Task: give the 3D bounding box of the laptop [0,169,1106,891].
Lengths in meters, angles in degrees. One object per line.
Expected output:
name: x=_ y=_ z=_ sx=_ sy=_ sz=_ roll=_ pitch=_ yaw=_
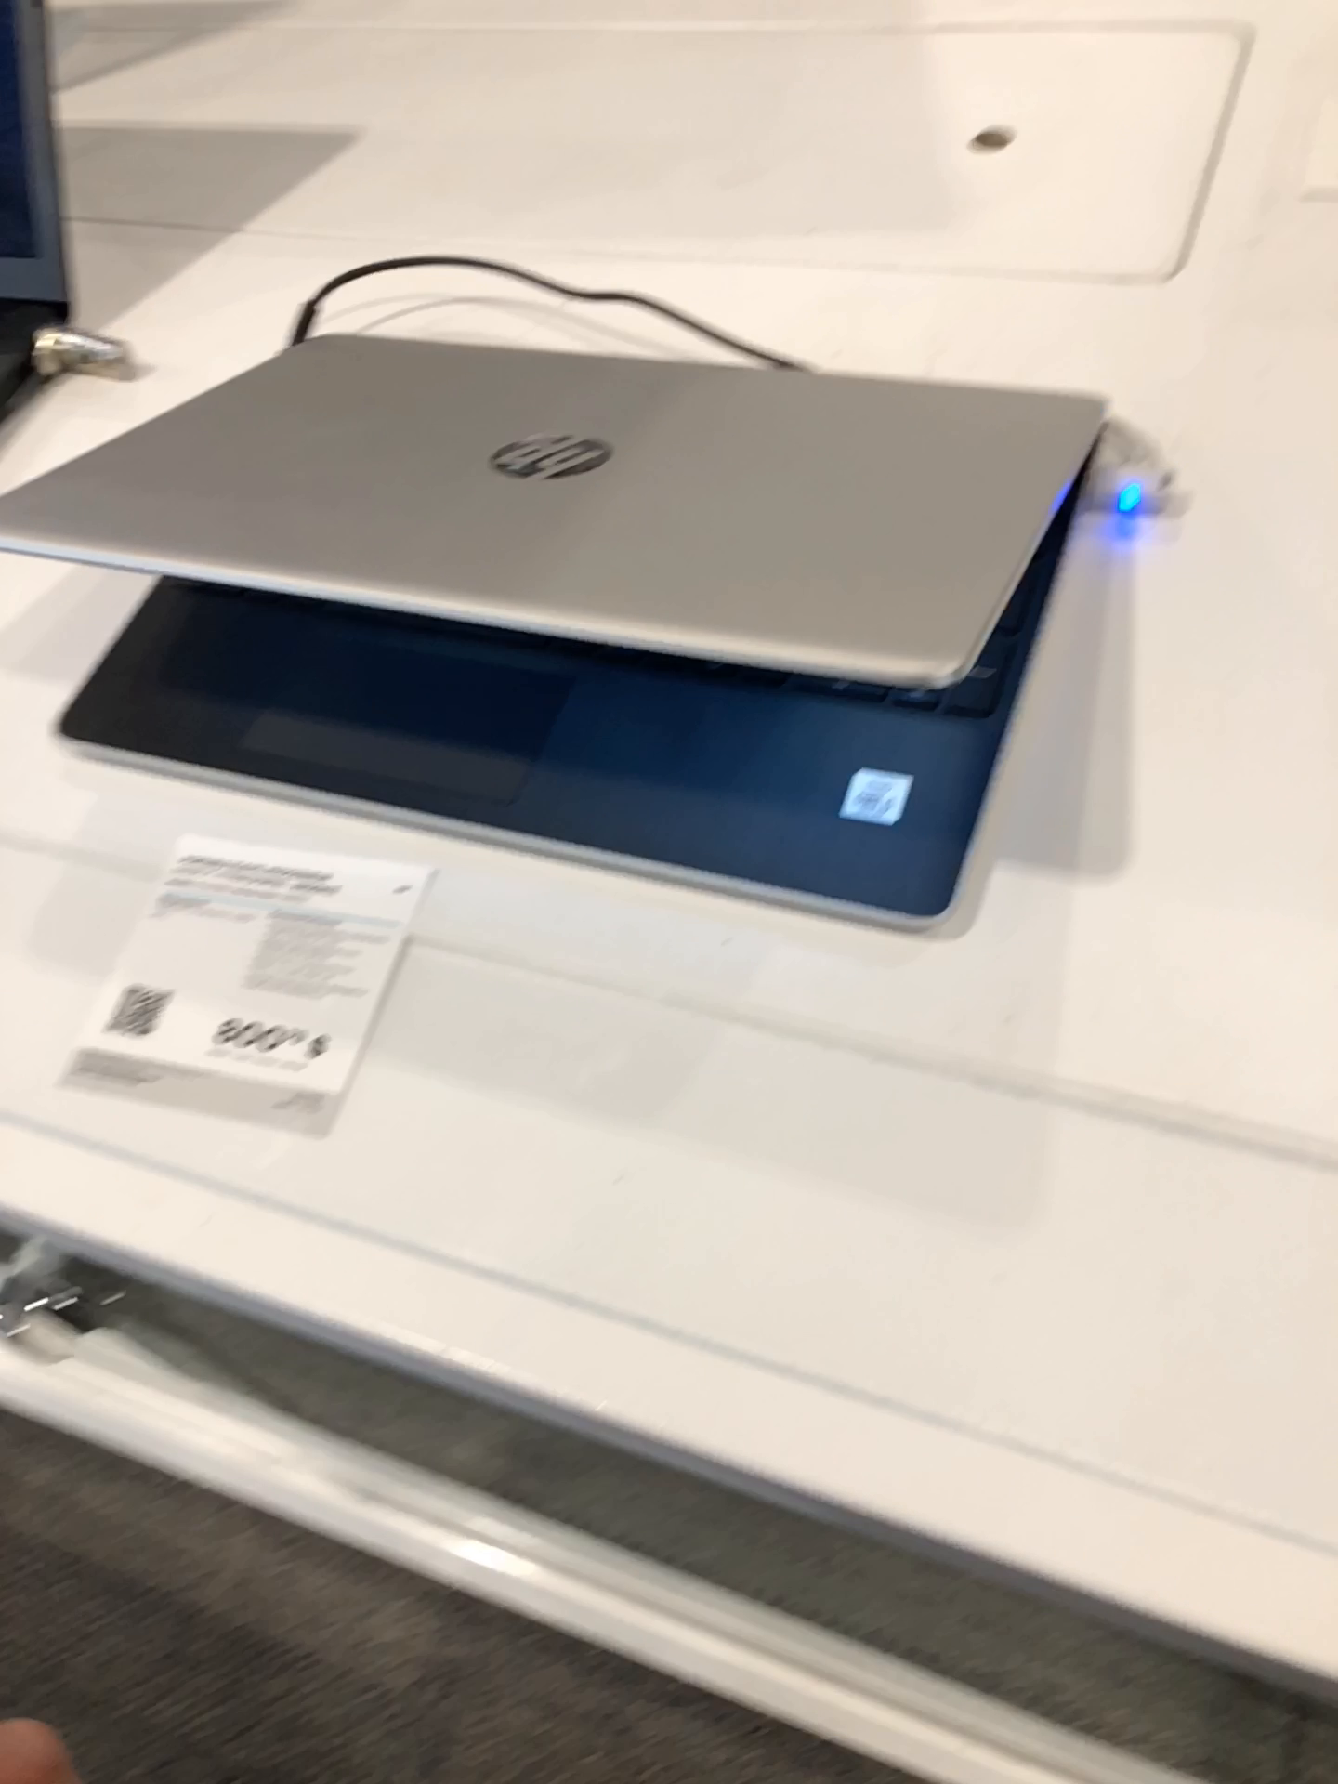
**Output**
laptop: x=-0.045 y=-0.150 z=0.530 sx=0.342 sy=0.086 sz=0.229 roll=12 pitch=60 yaw=22
